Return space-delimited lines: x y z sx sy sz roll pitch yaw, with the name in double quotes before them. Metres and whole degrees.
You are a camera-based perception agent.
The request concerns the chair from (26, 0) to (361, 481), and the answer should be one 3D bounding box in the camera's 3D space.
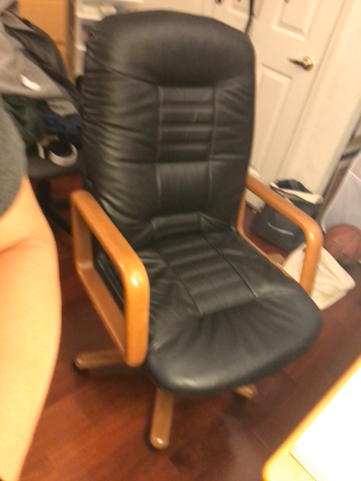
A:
"chair" 0.153 0.025 1.277 0.994 1.141 0.854 -12 45 -28
